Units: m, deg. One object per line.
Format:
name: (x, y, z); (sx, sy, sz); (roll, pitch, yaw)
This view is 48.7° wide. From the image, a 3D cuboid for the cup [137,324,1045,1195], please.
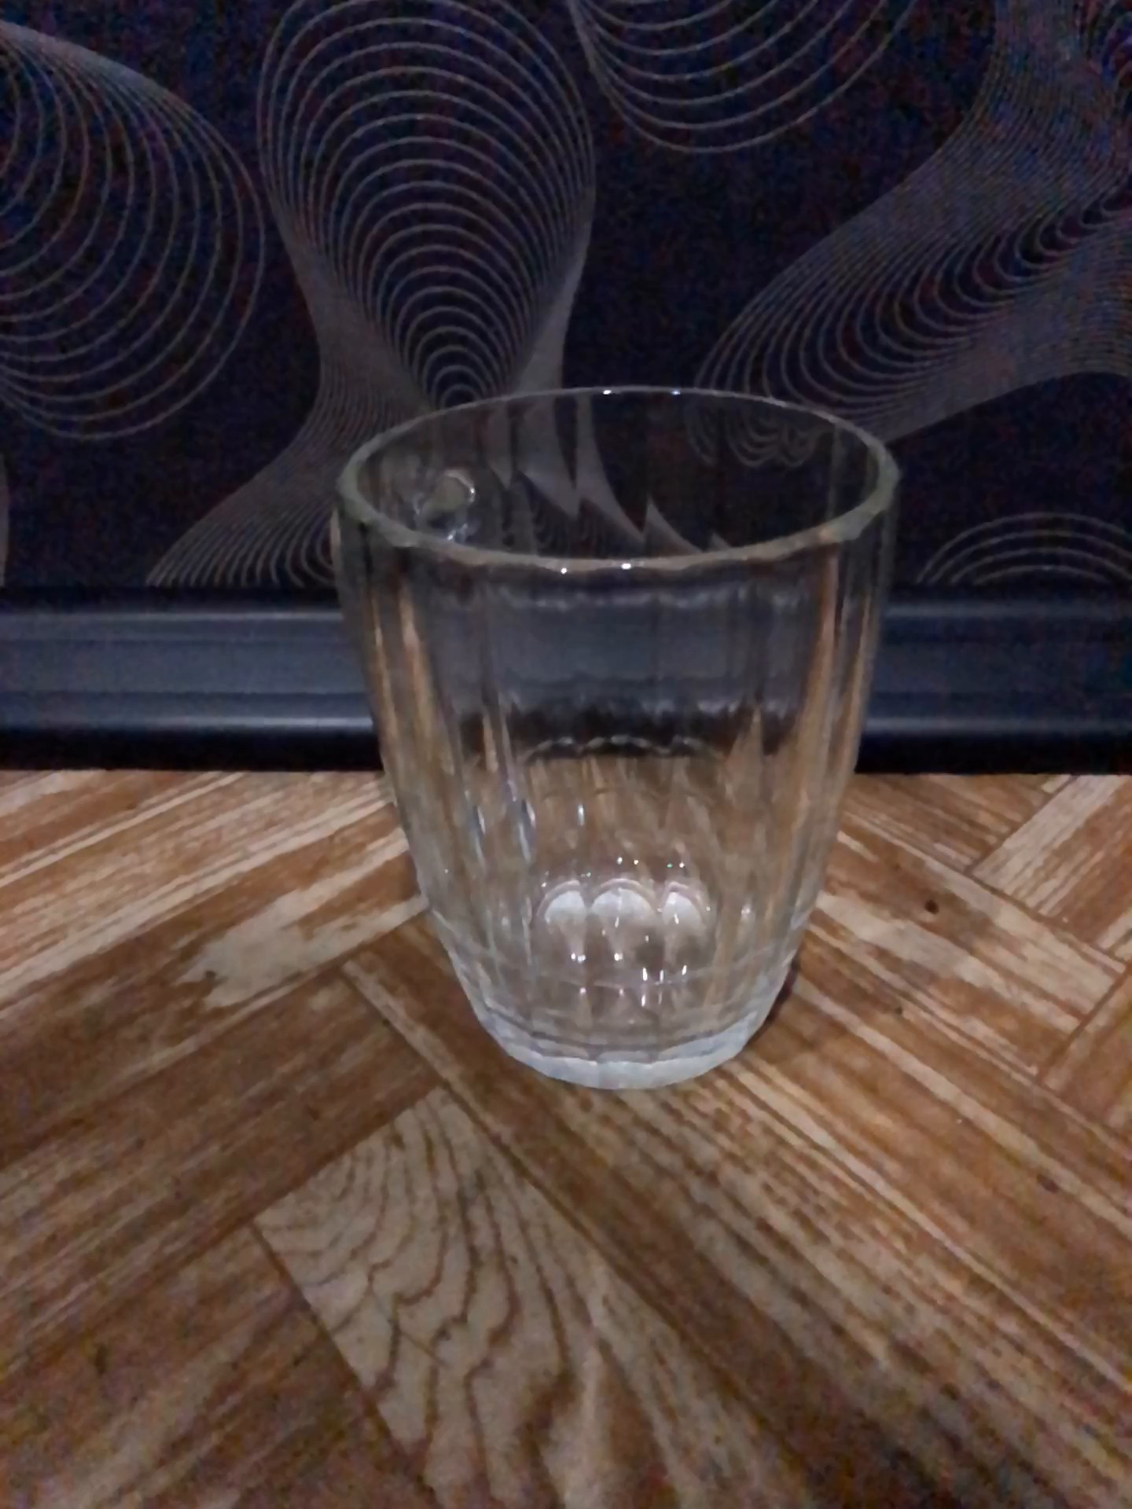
cup: (0.001, -0.015, 0.256); (0.114, 0.107, 0.126); (-23, 35, -31)
